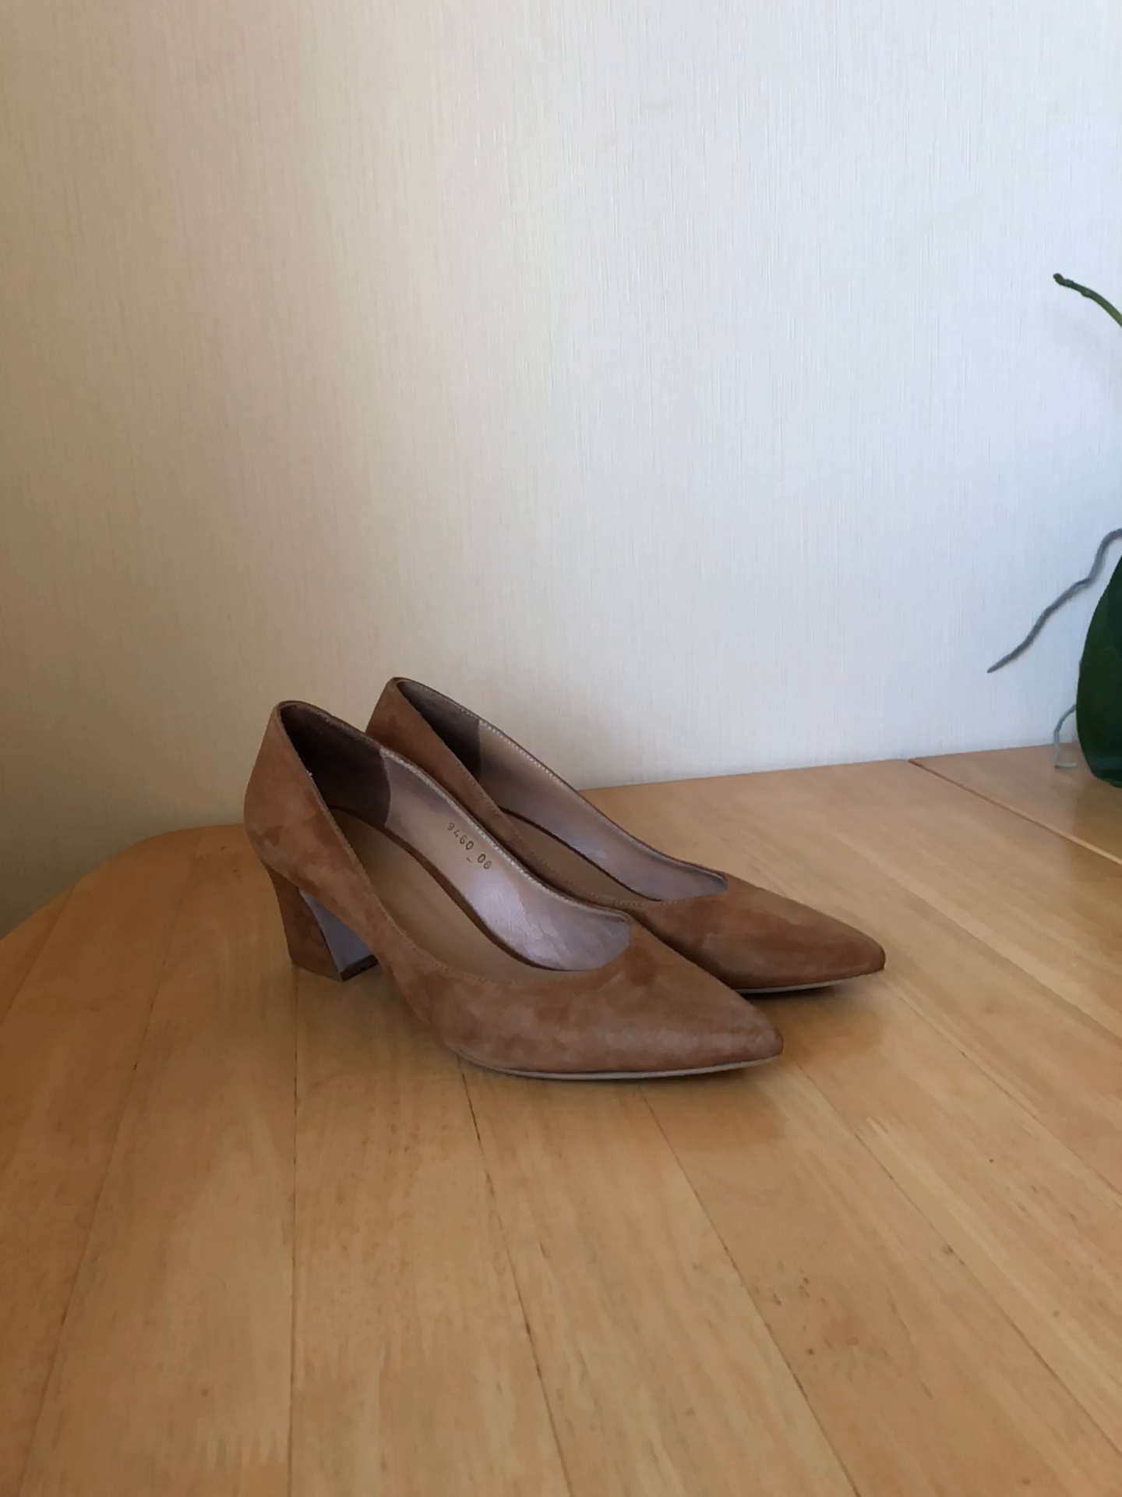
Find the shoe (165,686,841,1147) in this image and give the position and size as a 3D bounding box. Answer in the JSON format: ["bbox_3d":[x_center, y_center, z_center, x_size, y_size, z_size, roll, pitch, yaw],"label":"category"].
[{"bbox_3d":[-0.028,0.047,0.477,0.250,0.110,0.089,7,17,34],"label":"shoe"}]

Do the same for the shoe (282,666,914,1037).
[{"bbox_3d":[0.012,0.032,0.546,0.260,0.110,0.089,5,16,29],"label":"shoe"}]
